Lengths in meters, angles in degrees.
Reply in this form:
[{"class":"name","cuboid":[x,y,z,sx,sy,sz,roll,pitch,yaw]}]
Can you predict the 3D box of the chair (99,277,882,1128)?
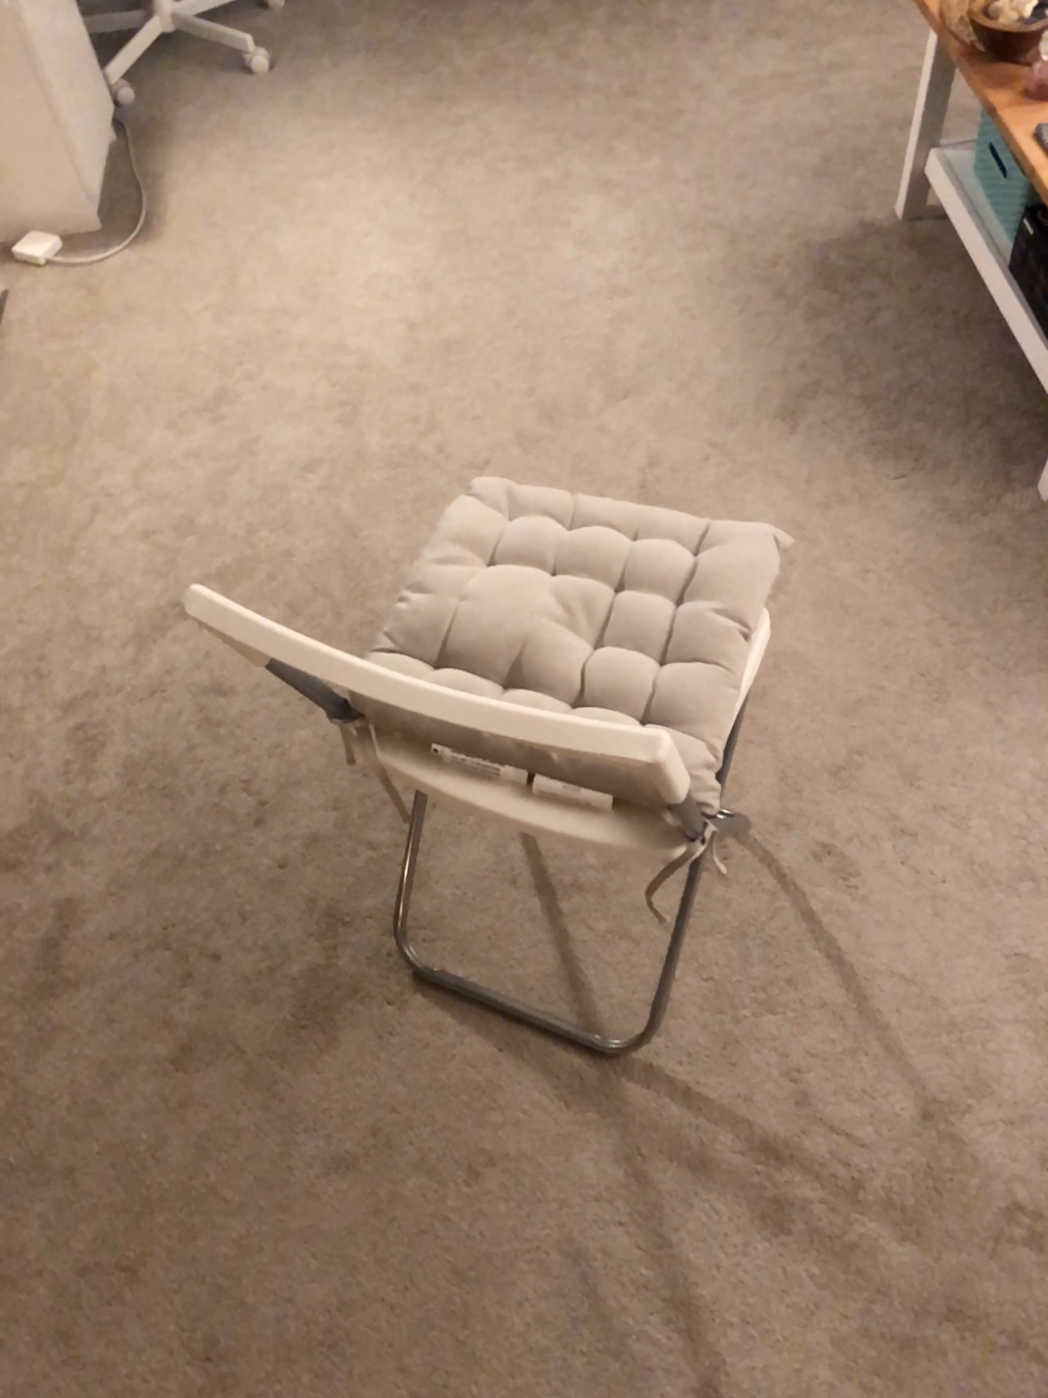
[{"class":"chair","cuboid":[0.021,0.025,1.270,0.510,0.667,0.542,17,58,17]}]
